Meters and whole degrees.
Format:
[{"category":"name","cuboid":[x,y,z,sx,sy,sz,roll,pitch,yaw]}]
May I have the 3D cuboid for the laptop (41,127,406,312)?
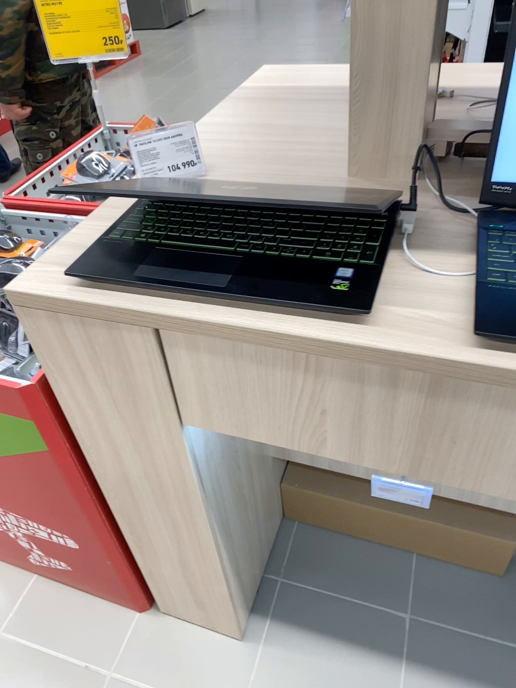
[{"category":"laptop","cuboid":[-0.027,-0.171,0.639,0.366,0.086,0.241,9,43,18]}]
